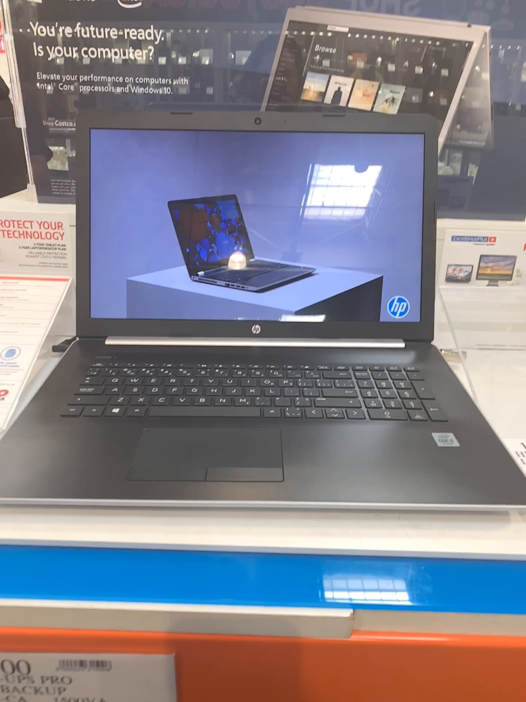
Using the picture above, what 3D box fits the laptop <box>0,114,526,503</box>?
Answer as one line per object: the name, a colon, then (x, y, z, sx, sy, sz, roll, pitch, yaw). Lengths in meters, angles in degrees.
laptop: (-0.001, -0.082, 0.488, 0.394, 0.234, 0.371, 1, 24, -1)
